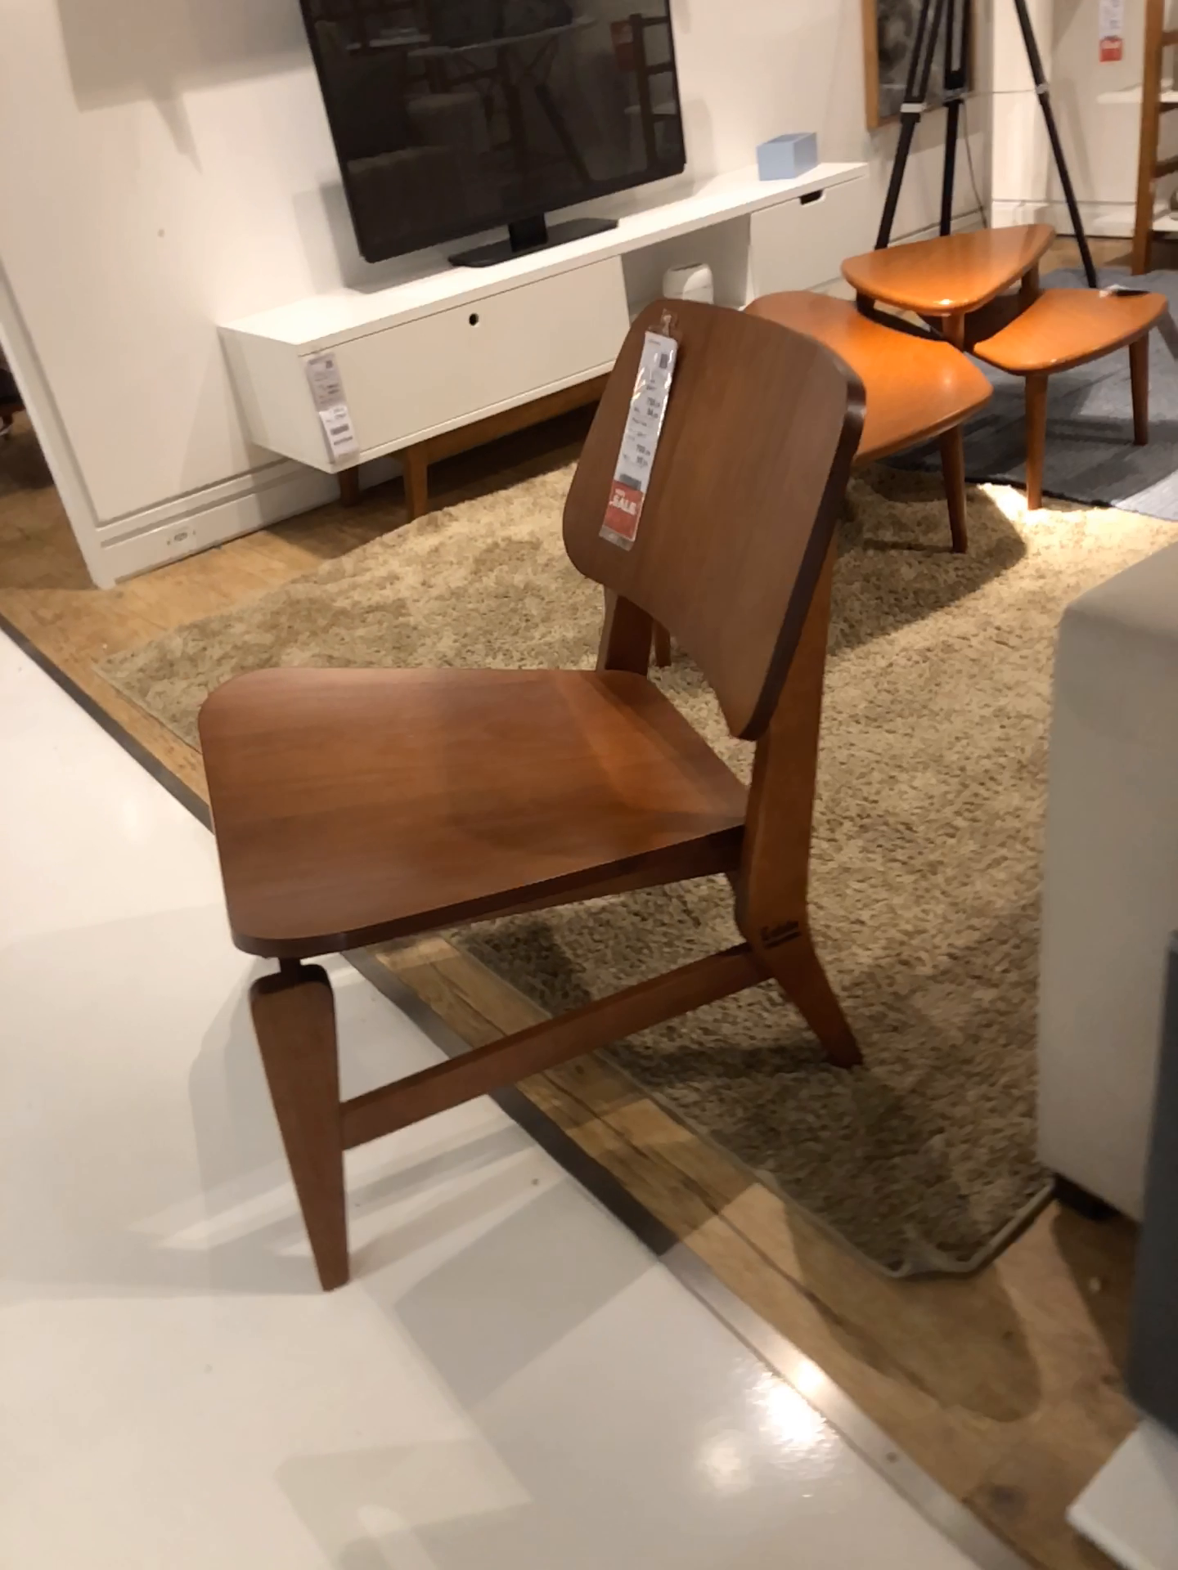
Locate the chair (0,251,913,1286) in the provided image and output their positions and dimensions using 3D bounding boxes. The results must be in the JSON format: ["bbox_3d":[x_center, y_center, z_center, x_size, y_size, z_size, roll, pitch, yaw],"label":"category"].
[{"bbox_3d":[-0.125,-0.066,1.251,0.630,0.655,0.584,-17,32,-10],"label":"chair"}]
